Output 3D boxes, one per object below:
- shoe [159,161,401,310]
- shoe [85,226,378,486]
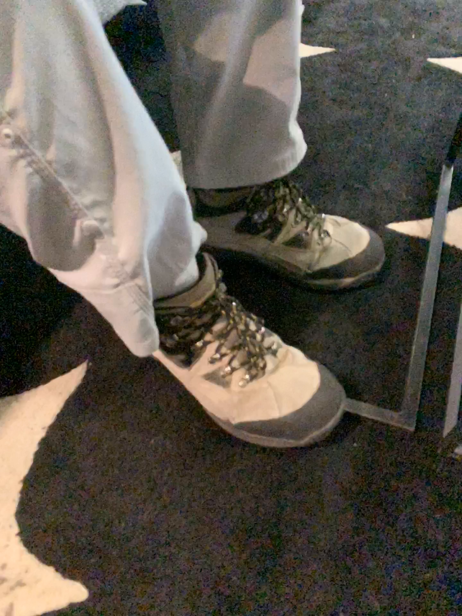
[{"bbox_3d":[0.067,-0.108,0.661,0.304,0.080,0.122,16,55,13],"label":"shoe"},{"bbox_3d":[-0.007,0.042,0.515,0.285,0.090,0.124,34,61,19],"label":"shoe"}]
